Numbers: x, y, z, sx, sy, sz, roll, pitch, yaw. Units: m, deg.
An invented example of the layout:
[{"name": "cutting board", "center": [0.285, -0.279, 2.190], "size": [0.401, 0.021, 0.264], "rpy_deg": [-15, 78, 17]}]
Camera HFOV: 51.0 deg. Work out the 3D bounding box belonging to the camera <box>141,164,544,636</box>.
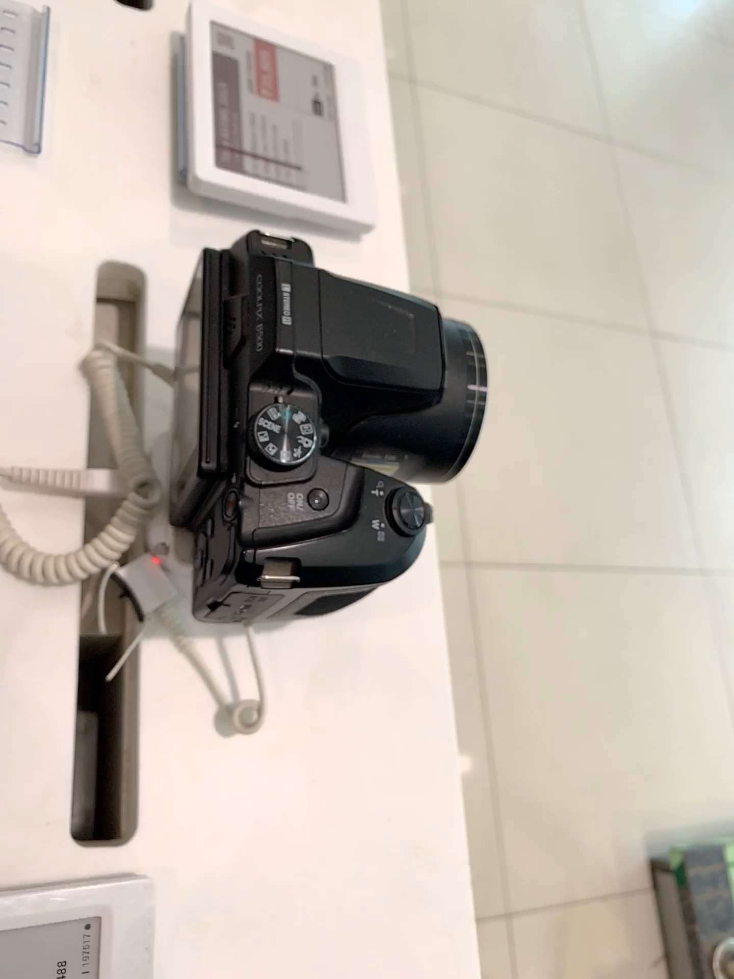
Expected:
[{"name": "camera", "center": [-0.015, -0.019, 0.252], "size": [0.100, 0.080, 0.120], "rpy_deg": [4, 69, -23]}]
